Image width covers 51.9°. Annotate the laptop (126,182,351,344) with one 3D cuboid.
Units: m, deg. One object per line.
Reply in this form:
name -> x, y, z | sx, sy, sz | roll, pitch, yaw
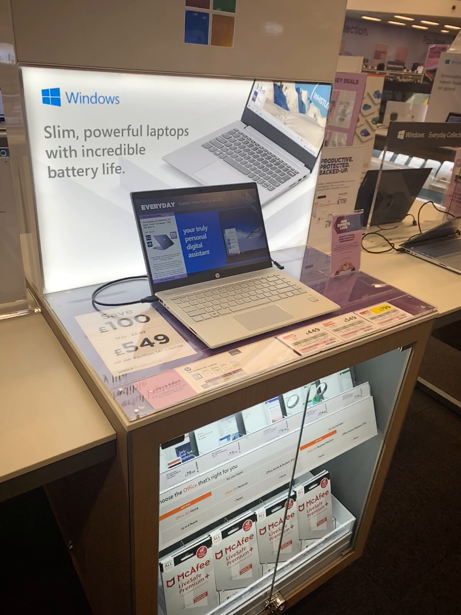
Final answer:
laptop -> 0.003, -0.118, 0.969 | 0.314, 0.171, 0.324 | -14, 34, -33
